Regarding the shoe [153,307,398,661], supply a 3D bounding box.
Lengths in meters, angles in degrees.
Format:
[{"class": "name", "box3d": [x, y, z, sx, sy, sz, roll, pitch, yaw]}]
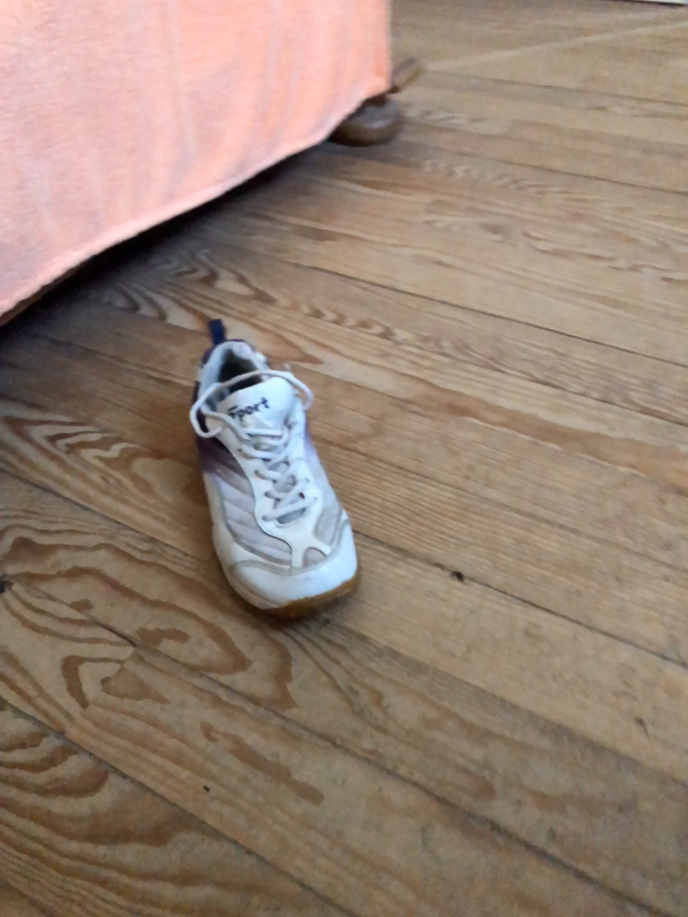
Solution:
[{"class": "shoe", "box3d": [-0.060, 0.006, 0.597, 0.110, 0.099, 0.261, -17, 48, -12]}]
